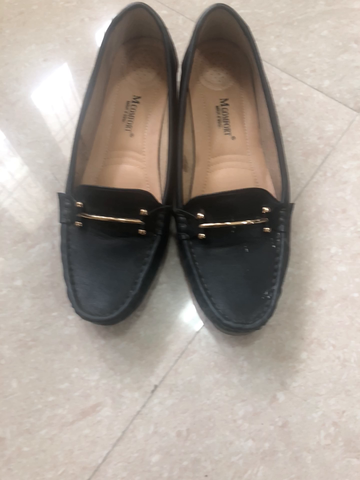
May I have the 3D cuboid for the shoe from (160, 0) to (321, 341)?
[{"bbox_3d":[0.038,-0.076,0.355,0.100,0.080,0.310,-2,70,1],"label":"shoe"}]

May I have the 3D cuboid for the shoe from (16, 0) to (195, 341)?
[{"bbox_3d":[-0.047,-0.077,0.354,0.100,0.080,0.310,3,70,3],"label":"shoe"}]
